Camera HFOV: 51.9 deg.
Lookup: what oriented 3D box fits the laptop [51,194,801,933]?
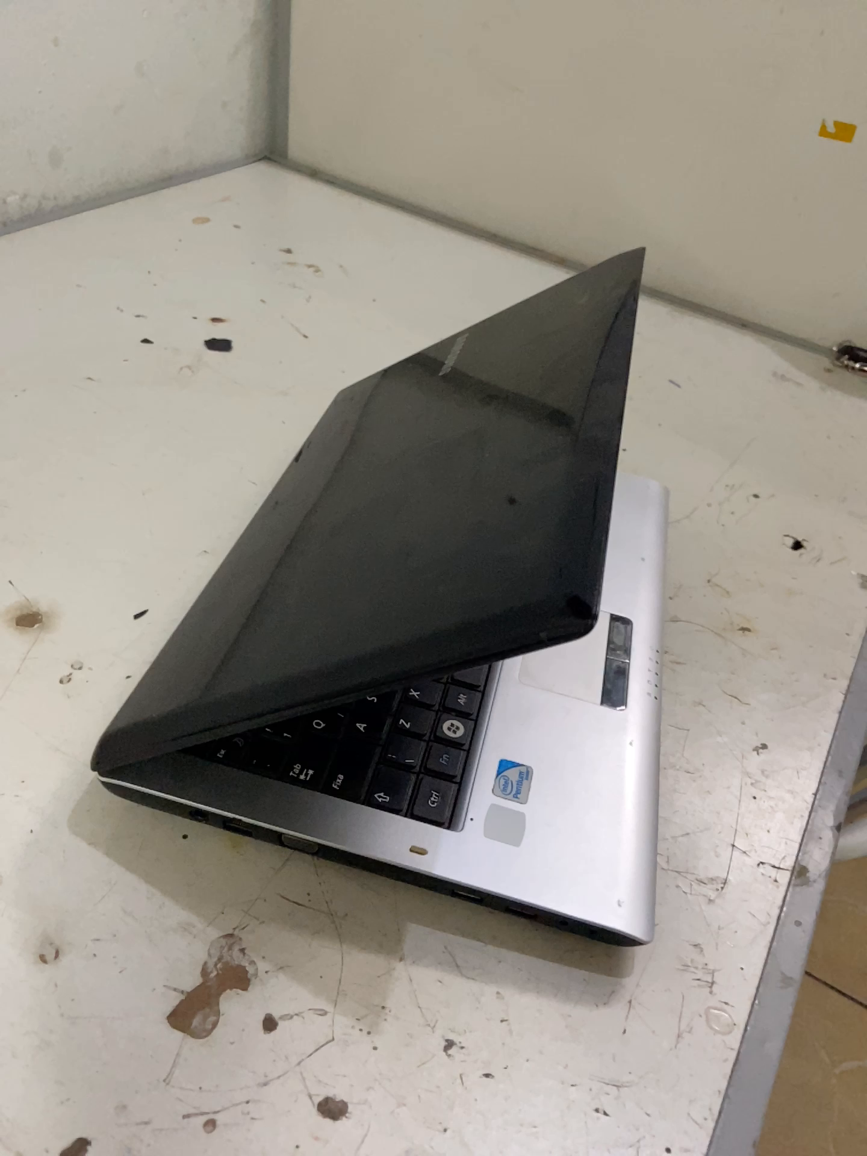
[{"bbox_3d":[0.019,-0.046,0.451,0.240,0.152,0.335,14,39,5],"label":"laptop"}]
